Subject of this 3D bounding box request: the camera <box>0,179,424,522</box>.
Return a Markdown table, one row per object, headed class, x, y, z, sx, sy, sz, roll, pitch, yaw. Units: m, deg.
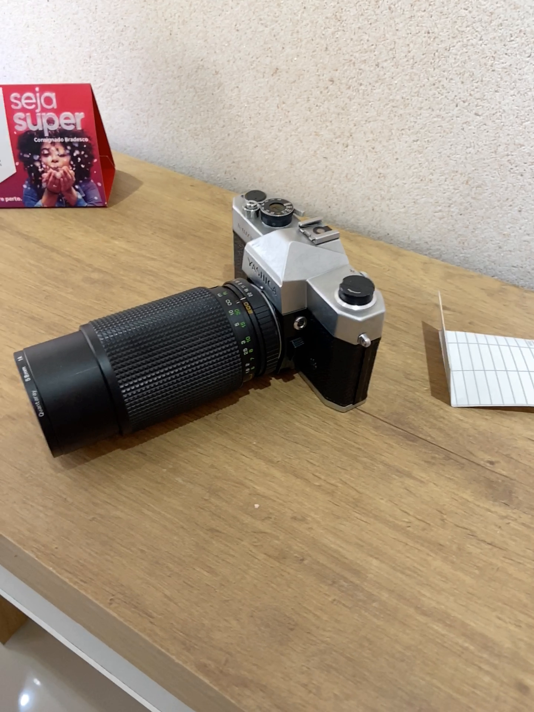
| class | x | y | z | sx | sy | sz | roll | pitch | yaw |
| --- | --- | --- | --- | --- | --- | --- | --- | --- | --- |
| camera | -0.039 | -0.020 | 0.337 | 0.200 | 0.080 | 0.151 | -18 | 47 | -18 |
